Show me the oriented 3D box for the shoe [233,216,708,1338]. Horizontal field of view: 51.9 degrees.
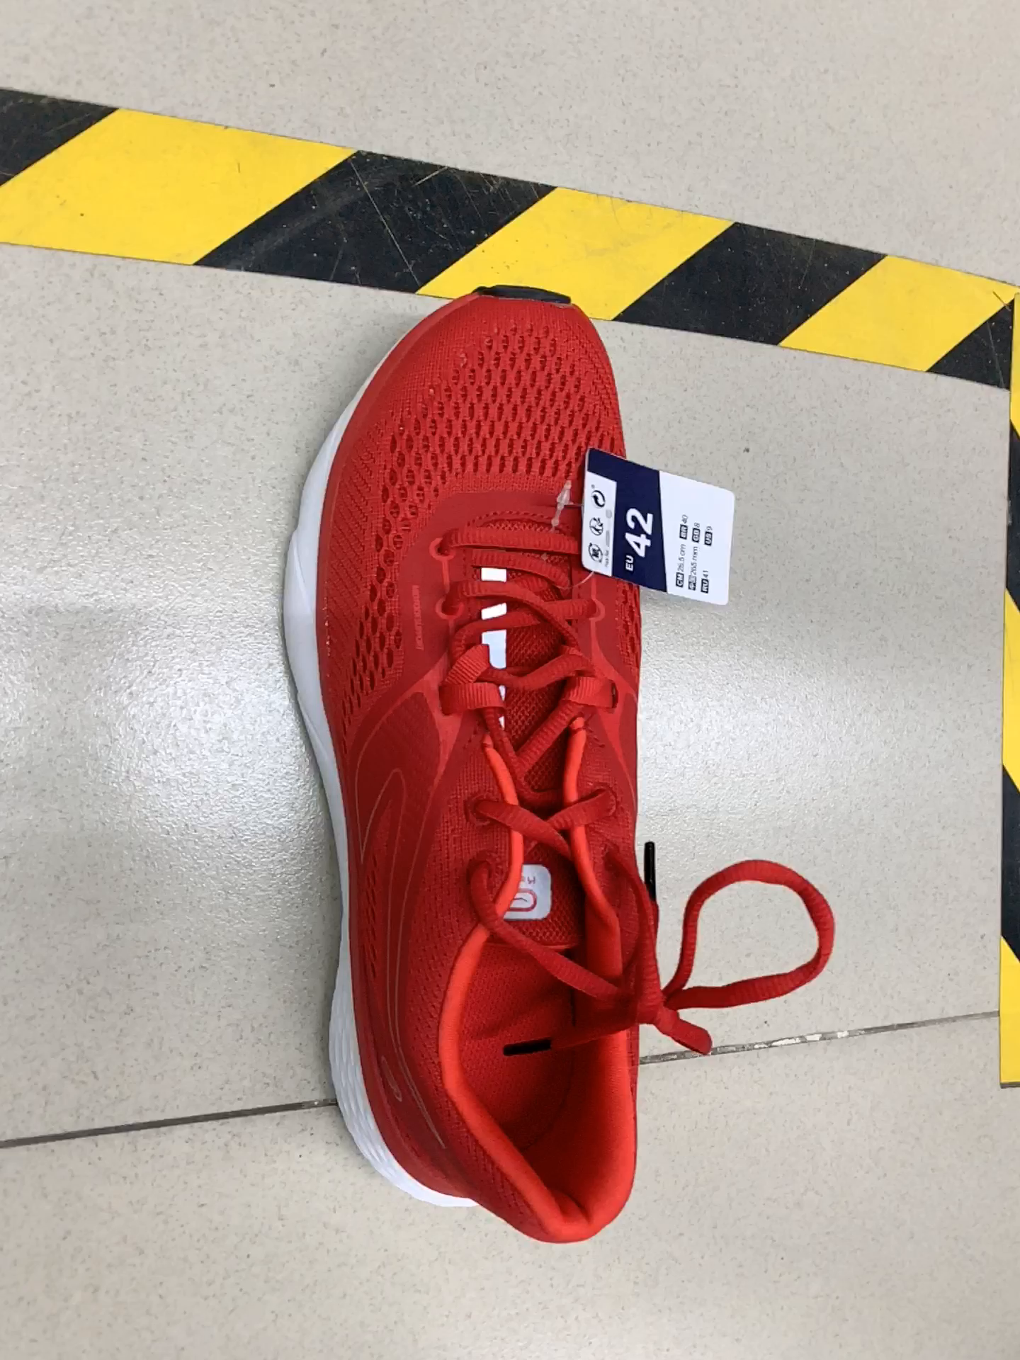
[{"bbox_3d":[-0.016,0.025,0.326,0.120,0.090,0.280,1,89,-21],"label":"shoe"}]
